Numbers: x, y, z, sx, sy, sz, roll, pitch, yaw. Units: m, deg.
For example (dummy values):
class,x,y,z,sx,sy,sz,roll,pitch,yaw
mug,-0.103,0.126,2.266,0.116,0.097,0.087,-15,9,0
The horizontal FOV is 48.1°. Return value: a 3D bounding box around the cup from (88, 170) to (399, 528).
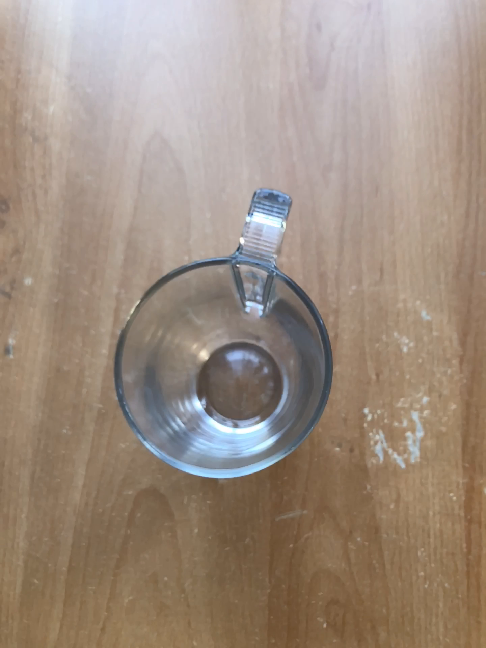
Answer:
class,x,y,z,sx,sy,sz,roll,pitch,yaw
cup,0.004,0.013,0.236,0.078,0.103,0.103,17,83,6
